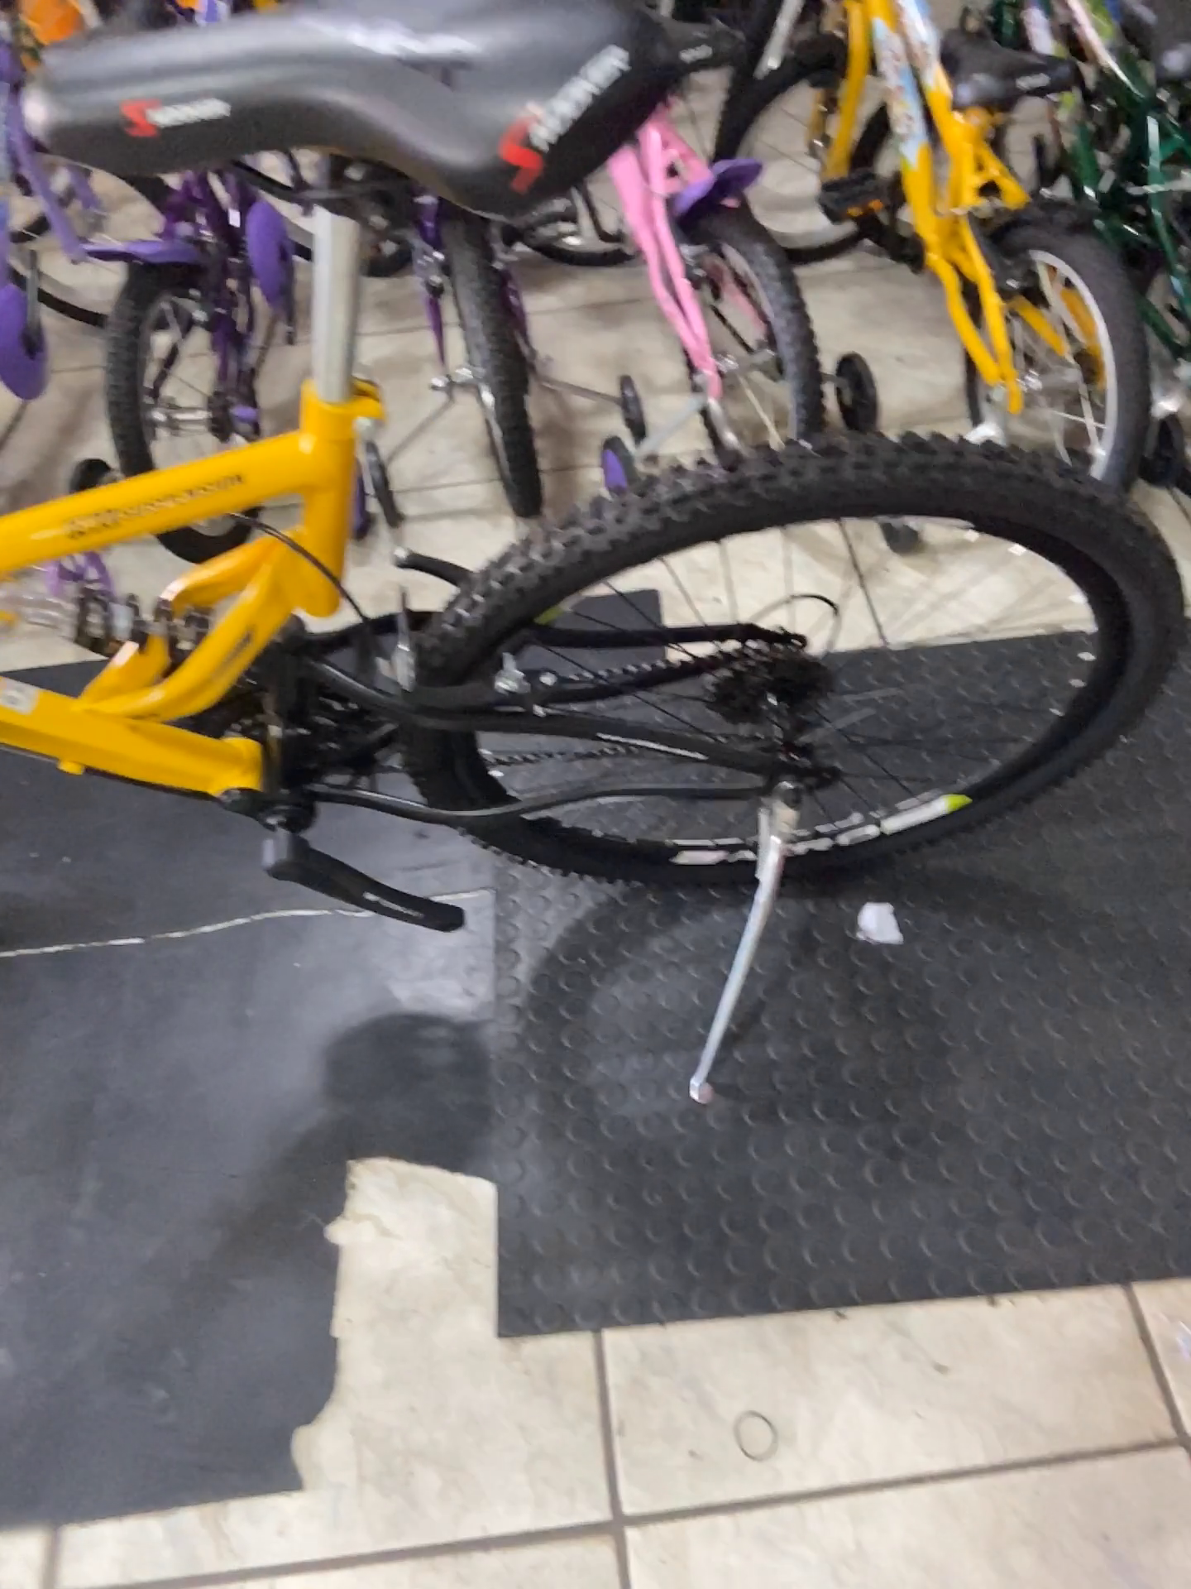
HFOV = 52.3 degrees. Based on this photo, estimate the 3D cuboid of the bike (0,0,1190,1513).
[{"bbox_3d":[-0.339,-0.109,0.727,1.520,0.987,0.478,-11,50,-5],"label":"bike"}]
